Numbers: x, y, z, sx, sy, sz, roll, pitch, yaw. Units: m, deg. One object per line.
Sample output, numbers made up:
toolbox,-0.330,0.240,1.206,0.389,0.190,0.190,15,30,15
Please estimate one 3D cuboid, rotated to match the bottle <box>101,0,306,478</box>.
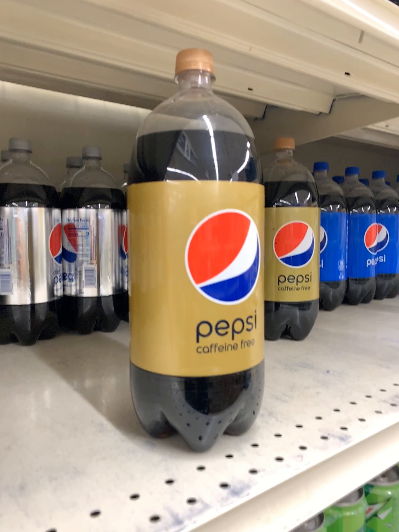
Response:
bottle,-0.002,-0.027,0.311,0.110,0.300,0.110,0,5,0
